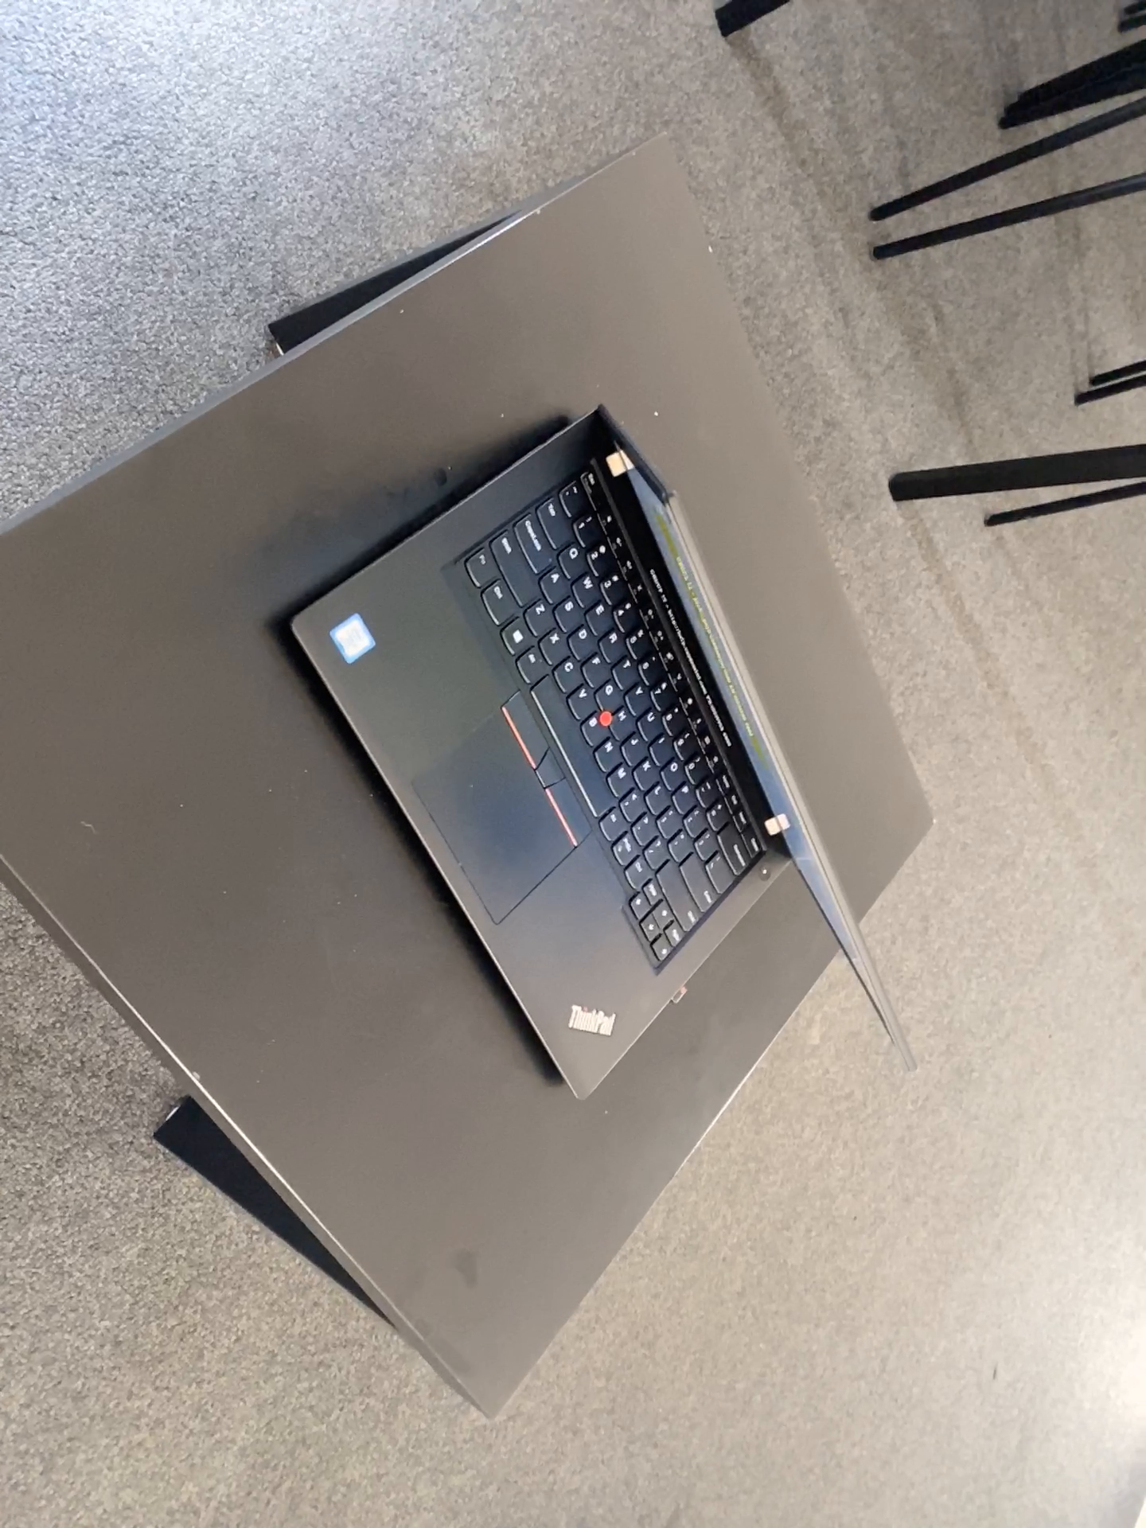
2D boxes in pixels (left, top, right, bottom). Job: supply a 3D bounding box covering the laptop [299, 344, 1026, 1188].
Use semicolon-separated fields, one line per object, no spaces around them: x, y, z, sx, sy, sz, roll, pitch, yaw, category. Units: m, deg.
0.067;0.002;0.615;0.224;0.165;0.333;-43;120;-29;laptop
